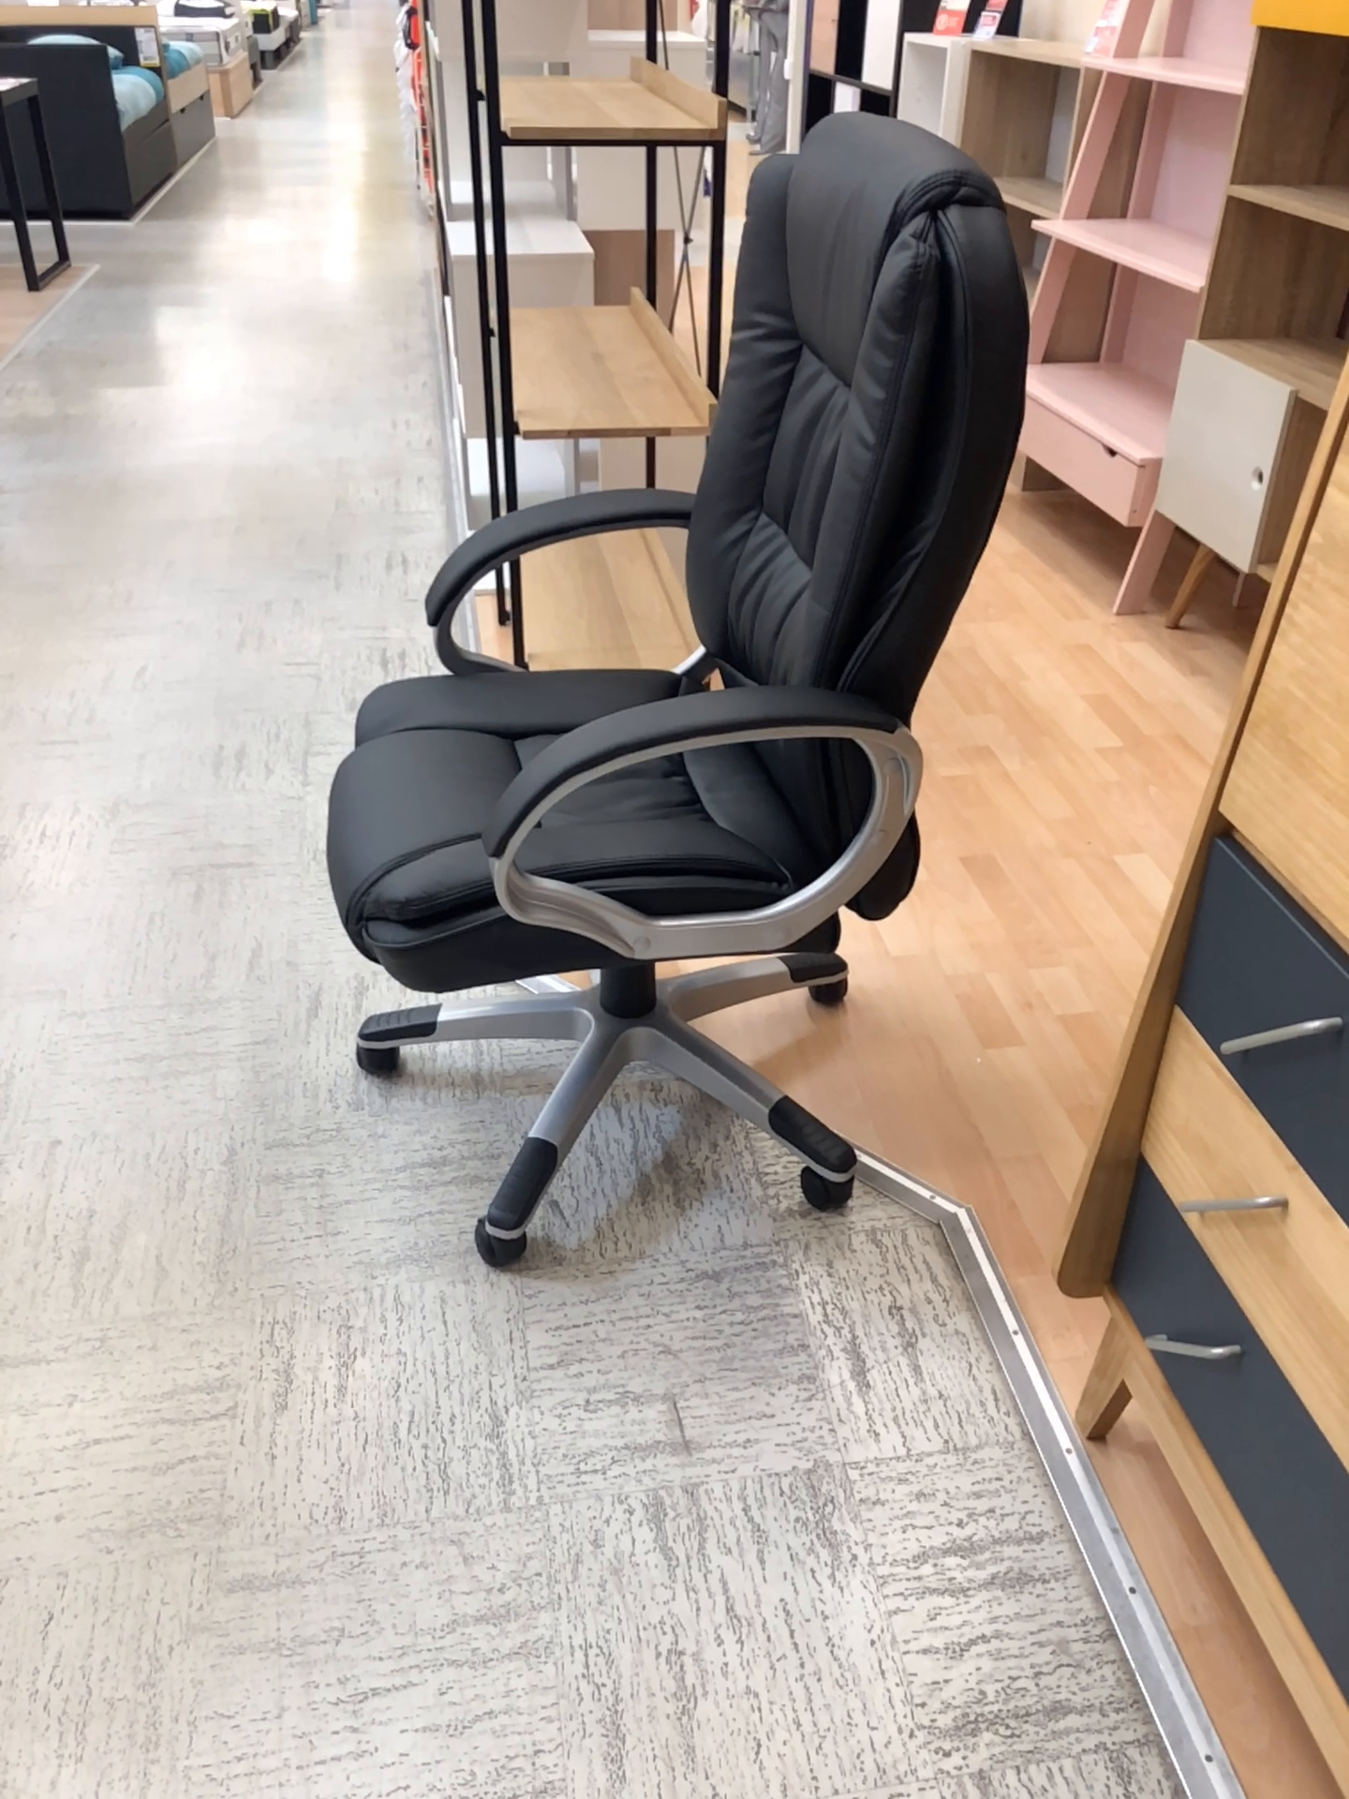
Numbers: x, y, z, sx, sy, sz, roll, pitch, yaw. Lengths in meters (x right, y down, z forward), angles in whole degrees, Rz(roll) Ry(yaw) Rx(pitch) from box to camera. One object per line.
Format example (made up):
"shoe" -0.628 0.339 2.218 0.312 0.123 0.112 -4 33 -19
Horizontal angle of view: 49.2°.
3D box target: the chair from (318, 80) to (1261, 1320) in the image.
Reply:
"chair" -0.003 -0.257 1.596 0.681 1.064 0.763 -3 29 -12
